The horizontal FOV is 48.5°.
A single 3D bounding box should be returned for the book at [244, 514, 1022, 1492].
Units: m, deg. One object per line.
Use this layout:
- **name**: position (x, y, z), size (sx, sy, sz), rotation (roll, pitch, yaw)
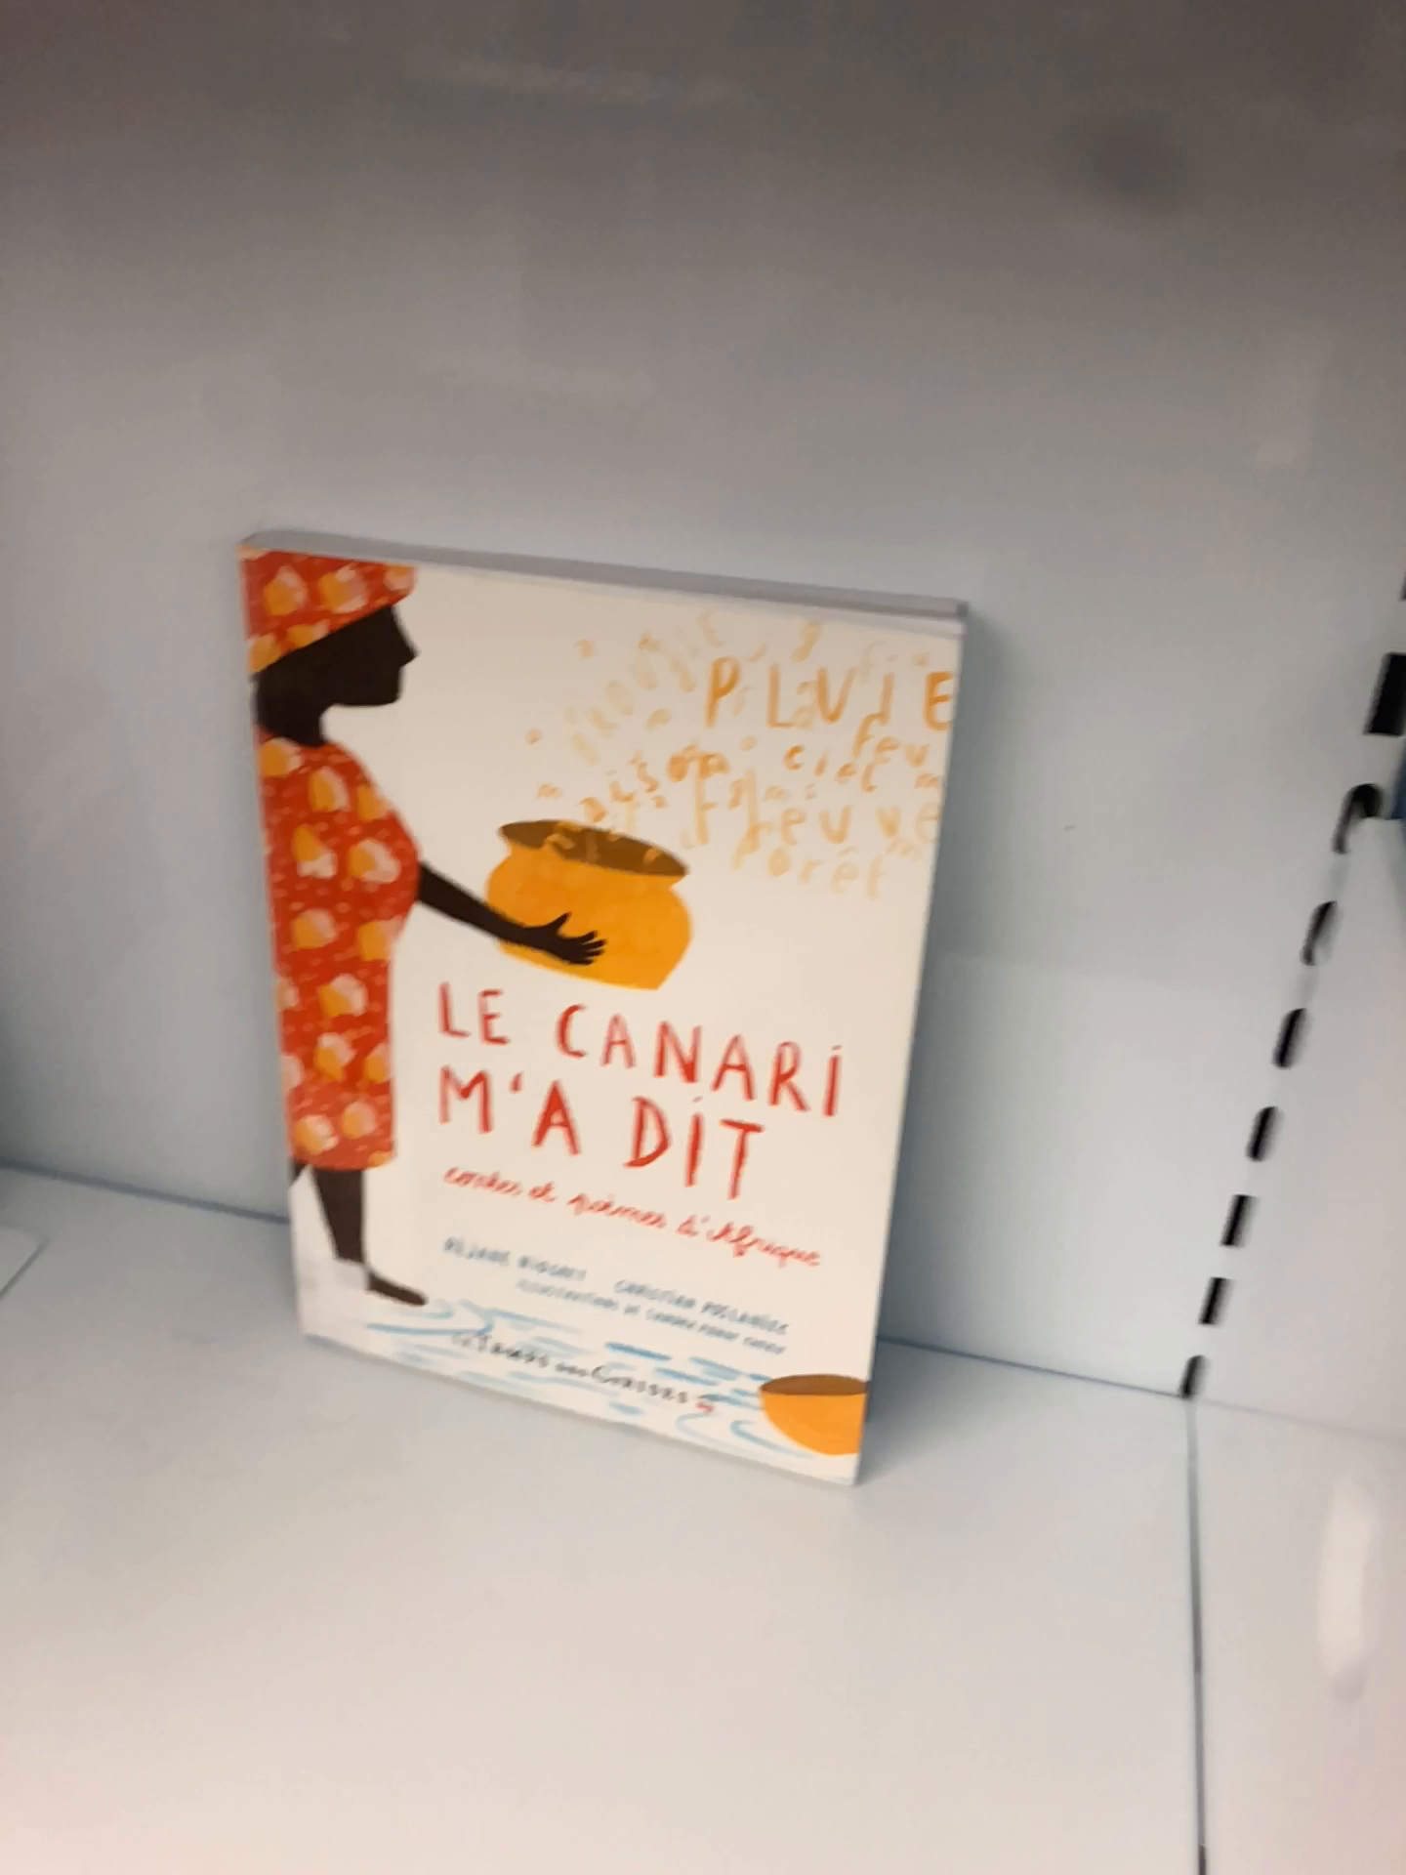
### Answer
- **book**: position (-0.020, 0.018, 0.350), size (0.149, 0.199, 0.037), rotation (11, 27, 13)
